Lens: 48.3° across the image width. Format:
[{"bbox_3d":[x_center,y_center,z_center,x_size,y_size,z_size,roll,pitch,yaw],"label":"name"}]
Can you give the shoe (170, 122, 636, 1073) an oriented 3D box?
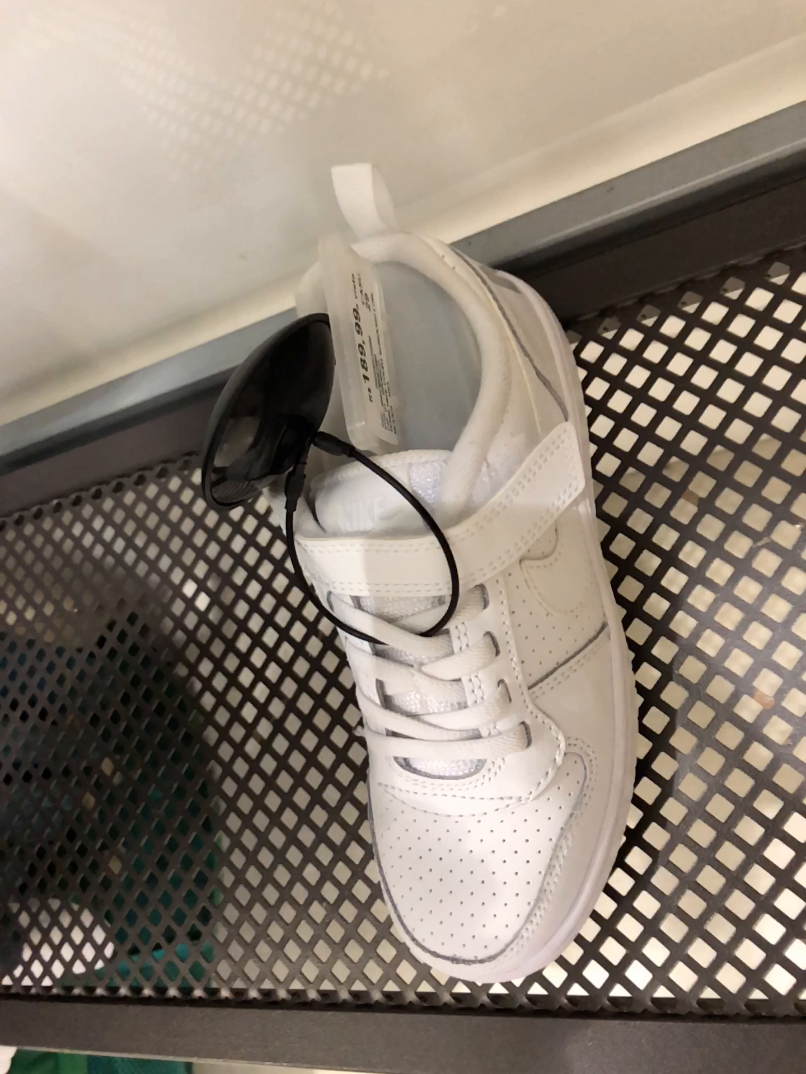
[{"bbox_3d":[0.008,0.015,0.249,0.080,0.100,0.200,-5,77,29],"label":"shoe"}]
